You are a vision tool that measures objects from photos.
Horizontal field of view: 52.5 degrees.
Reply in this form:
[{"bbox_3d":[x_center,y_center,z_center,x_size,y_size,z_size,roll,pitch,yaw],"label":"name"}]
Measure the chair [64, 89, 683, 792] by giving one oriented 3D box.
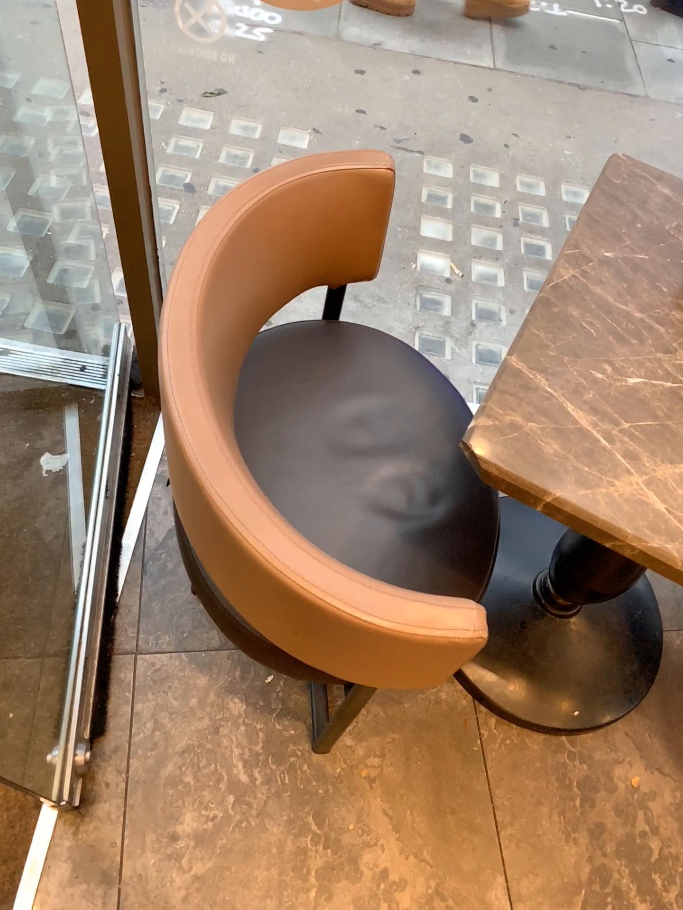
[{"bbox_3d":[0.016,0.024,1.032,0.510,0.655,0.765,7,57,-5],"label":"chair"}]
